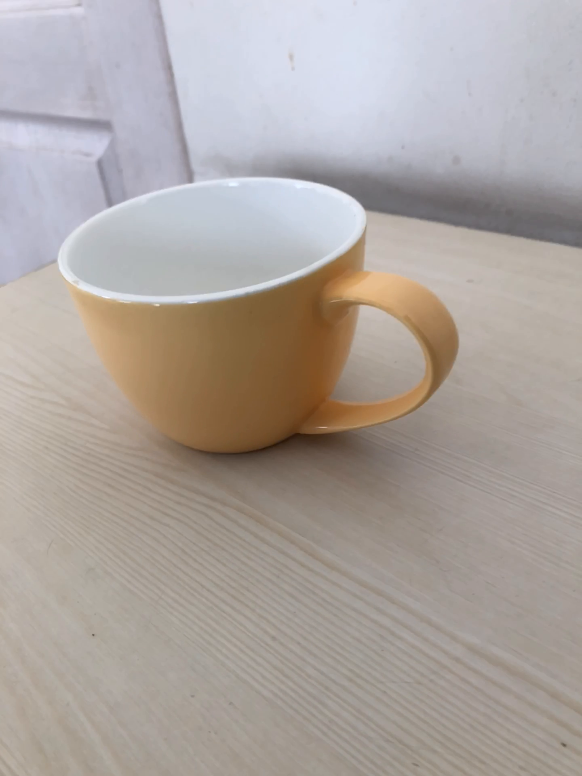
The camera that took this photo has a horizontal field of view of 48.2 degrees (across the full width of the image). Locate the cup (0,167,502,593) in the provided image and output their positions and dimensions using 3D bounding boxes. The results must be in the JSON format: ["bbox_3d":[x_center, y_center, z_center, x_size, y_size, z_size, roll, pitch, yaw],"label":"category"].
[{"bbox_3d":[-0.014,-0.019,0.240,0.140,0.079,0.101,23,45,36],"label":"cup"}]
